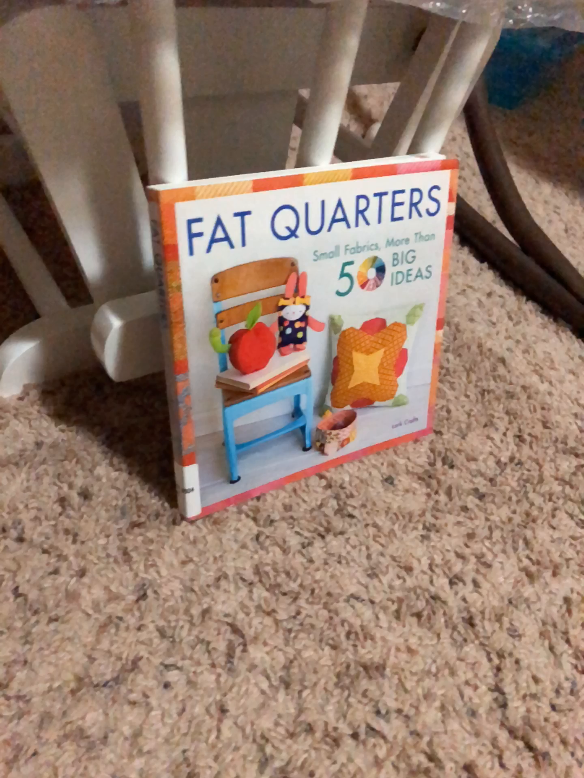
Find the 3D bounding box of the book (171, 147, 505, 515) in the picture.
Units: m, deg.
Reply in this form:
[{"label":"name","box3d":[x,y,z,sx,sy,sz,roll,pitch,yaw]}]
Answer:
[{"label":"book","box3d":[0.037,-0.041,0.406,0.207,0.193,0.030,-16,30,-27]}]
